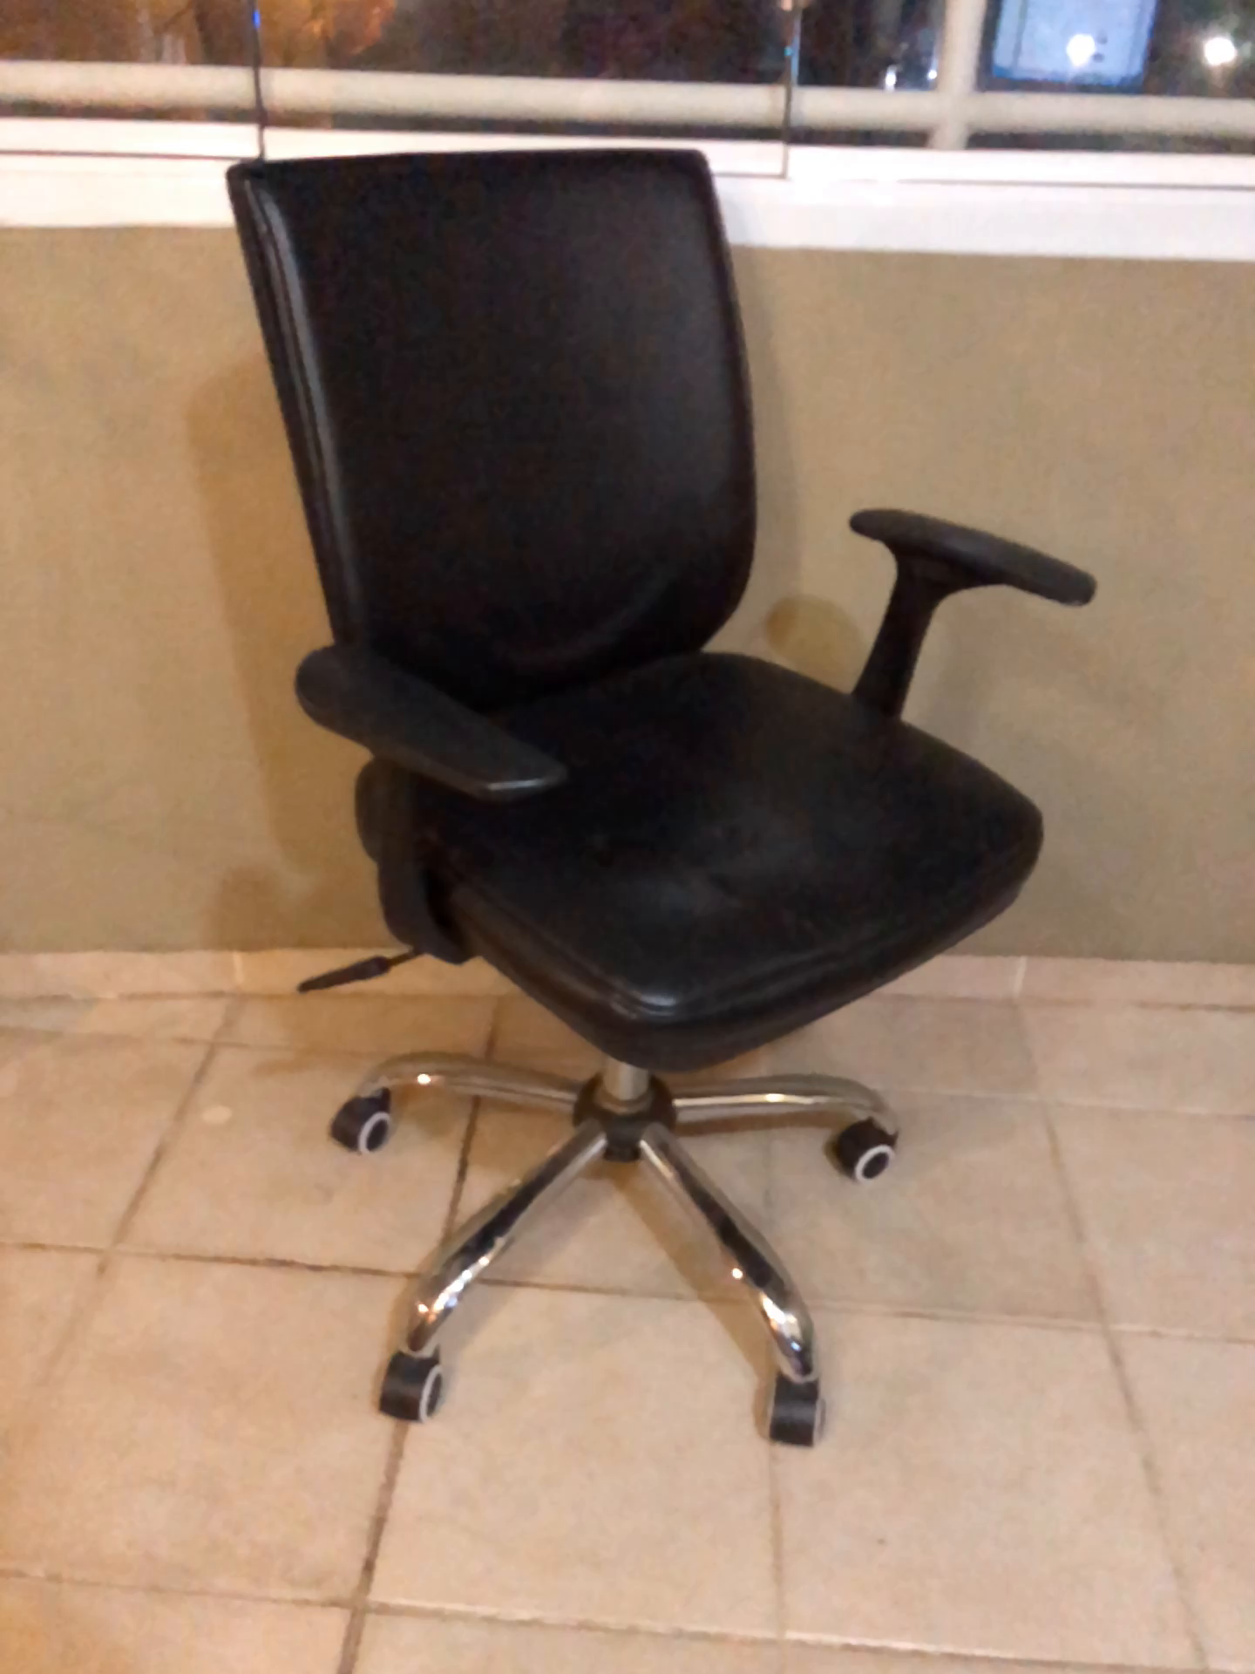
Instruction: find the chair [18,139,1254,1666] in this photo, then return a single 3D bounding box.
[{"bbox_3d":[0.017,-0.039,1.178,0.662,0.932,0.664,-20,36,-33],"label":"chair"}]
